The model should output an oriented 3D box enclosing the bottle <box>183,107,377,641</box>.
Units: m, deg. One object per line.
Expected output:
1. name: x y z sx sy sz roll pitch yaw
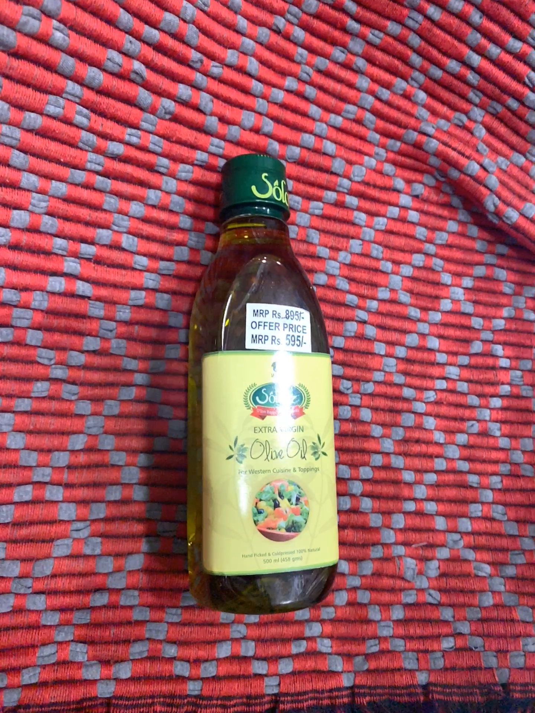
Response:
1. bottle: -0.002 0.005 0.247 0.060 0.070 0.200 2 78 -17
